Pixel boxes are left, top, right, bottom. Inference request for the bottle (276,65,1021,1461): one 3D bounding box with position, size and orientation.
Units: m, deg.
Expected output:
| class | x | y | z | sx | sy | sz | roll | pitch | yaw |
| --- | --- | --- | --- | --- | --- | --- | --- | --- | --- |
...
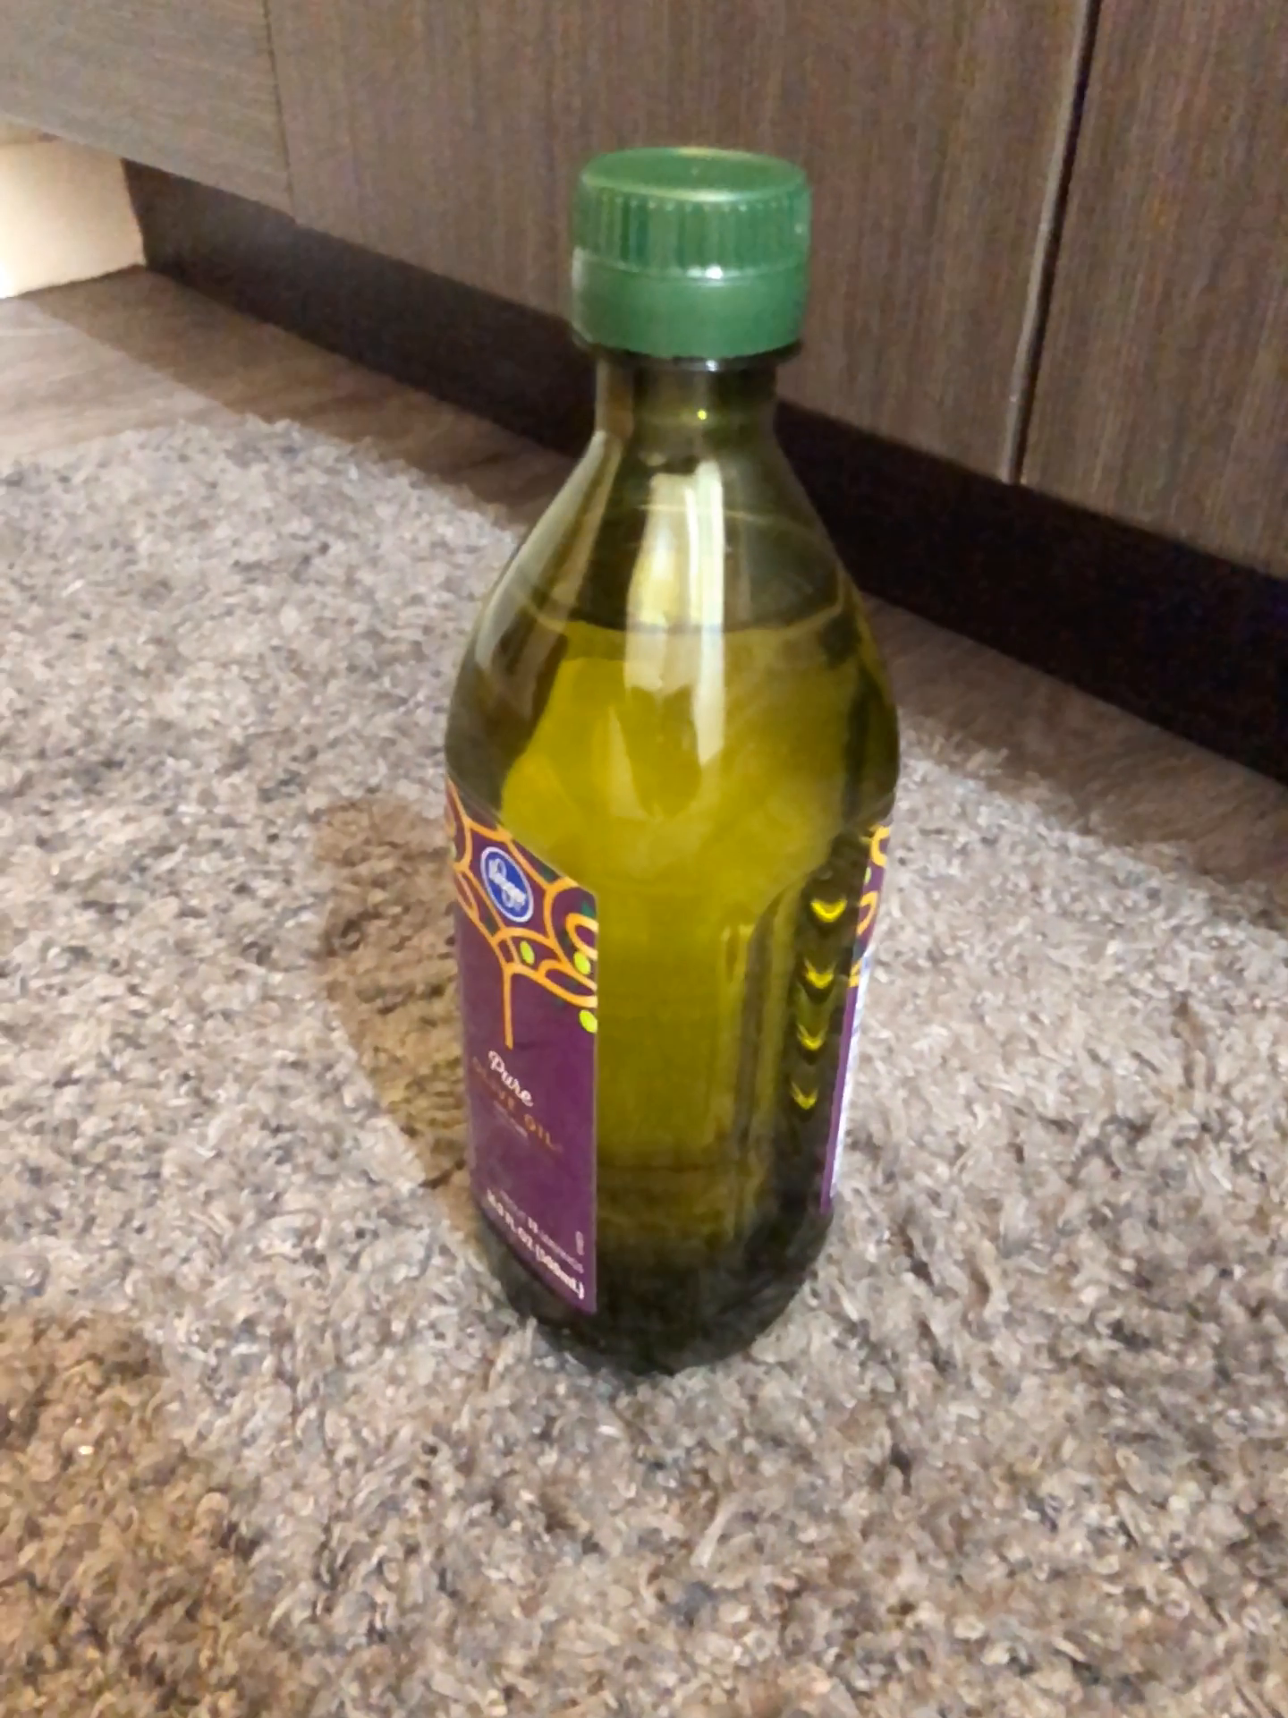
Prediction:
| class | x | y | z | sx | sy | sz | roll | pitch | yaw |
| --- | --- | --- | --- | --- | --- | --- | --- | --- | --- |
| bottle | -0.002 | -0.003 | 0.233 | 0.060 | 0.209 | 0.070 | -21 | 42 | -26 |
